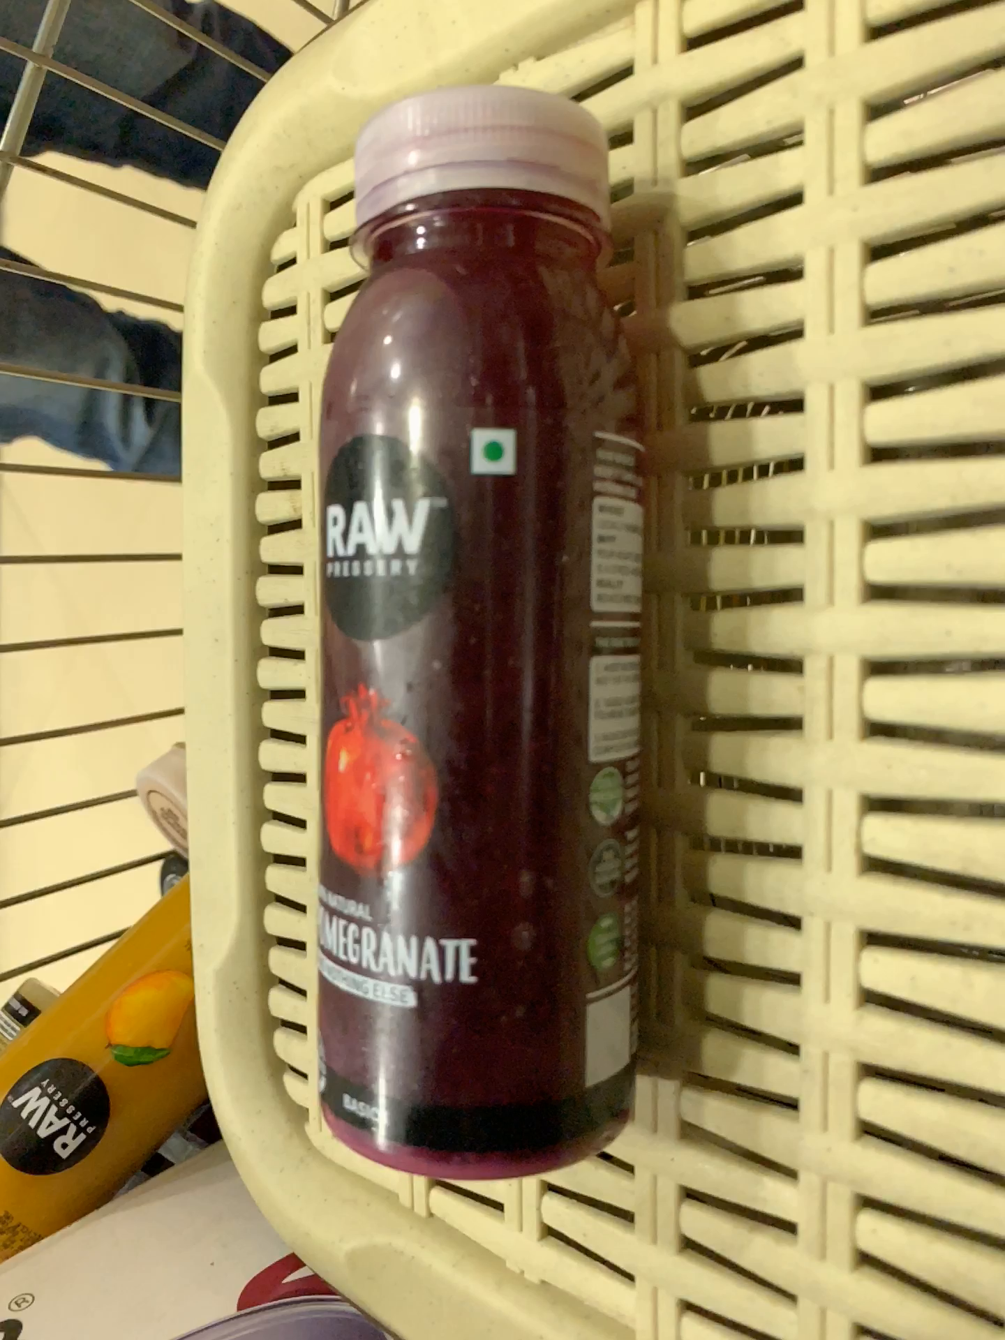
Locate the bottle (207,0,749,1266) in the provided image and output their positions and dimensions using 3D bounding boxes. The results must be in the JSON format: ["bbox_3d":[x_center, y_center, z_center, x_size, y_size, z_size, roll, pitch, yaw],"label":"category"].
[{"bbox_3d":[-0.004,-0.012,0.156,0.060,0.050,0.160,4,95,40],"label":"bottle"}]
